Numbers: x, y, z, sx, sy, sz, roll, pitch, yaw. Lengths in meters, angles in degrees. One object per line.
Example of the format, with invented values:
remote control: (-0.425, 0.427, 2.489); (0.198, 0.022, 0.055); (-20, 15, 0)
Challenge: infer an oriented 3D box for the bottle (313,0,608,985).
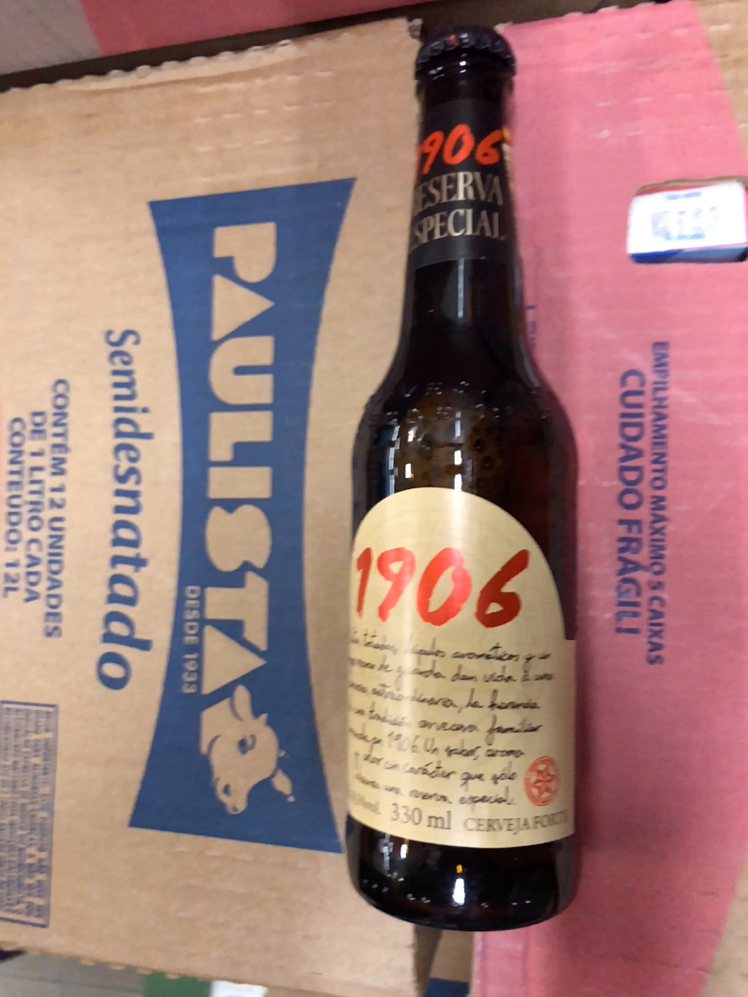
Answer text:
bottle: (0.028, -0.021, 0.238); (0.070, 0.060, 0.270); (0, 88, 14)
